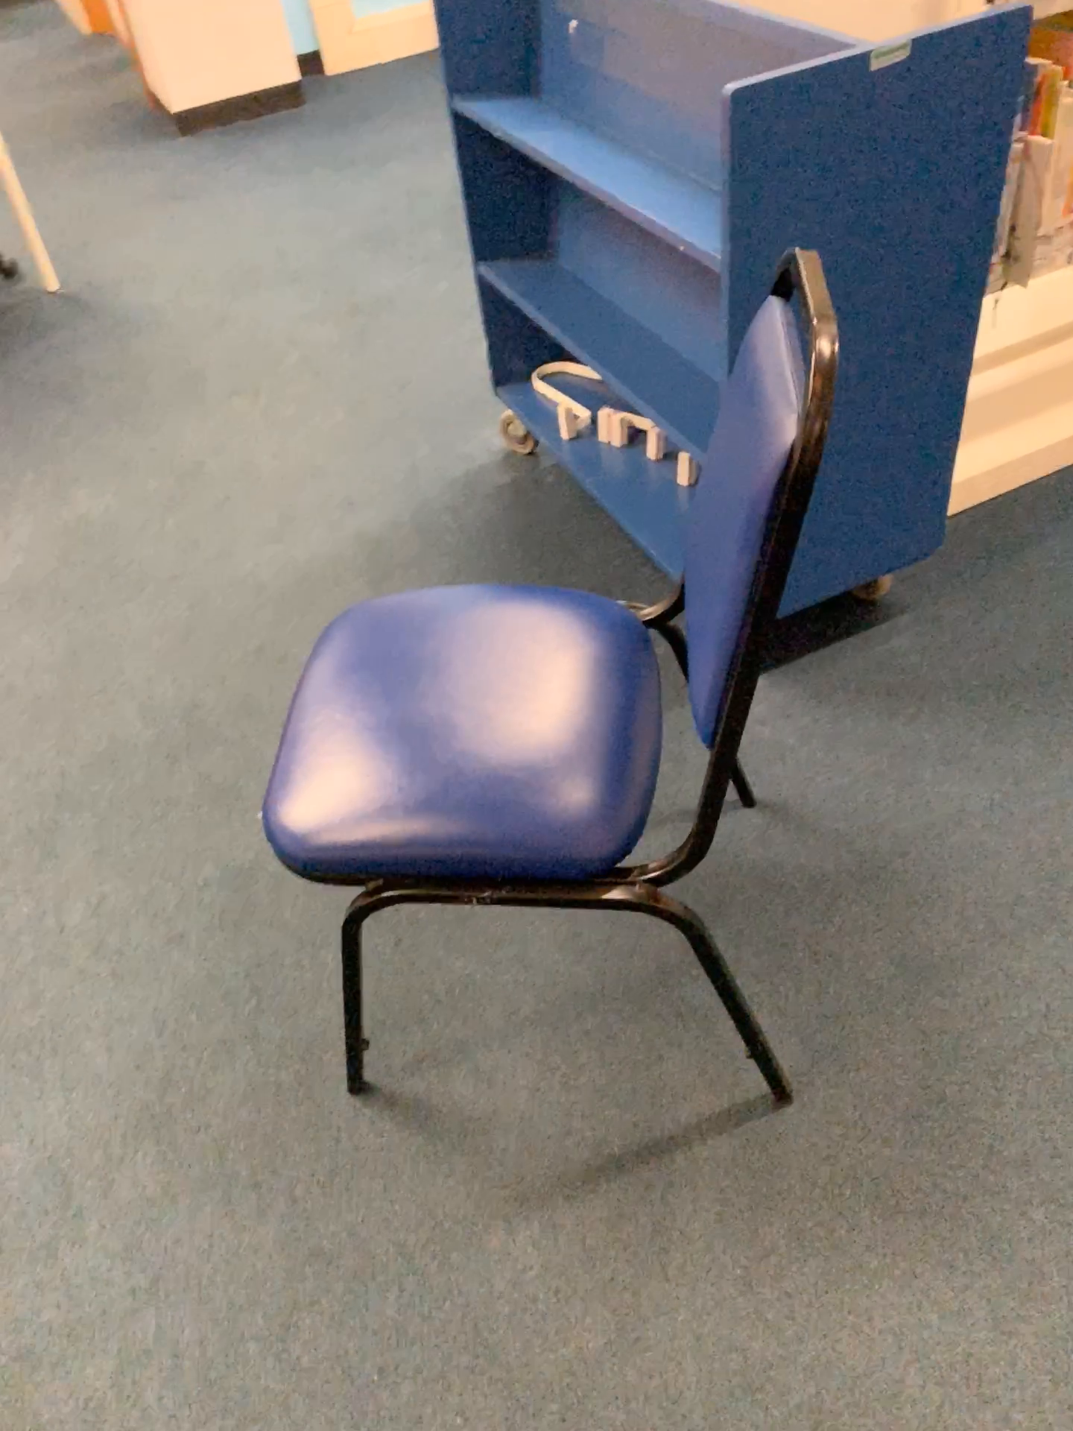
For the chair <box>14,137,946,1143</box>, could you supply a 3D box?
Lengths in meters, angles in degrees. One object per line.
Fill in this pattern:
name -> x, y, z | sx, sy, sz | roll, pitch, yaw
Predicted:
chair -> 0.023, -0.024, 1.173 | 0.580, 0.882, 0.565 | -1, 44, 8
